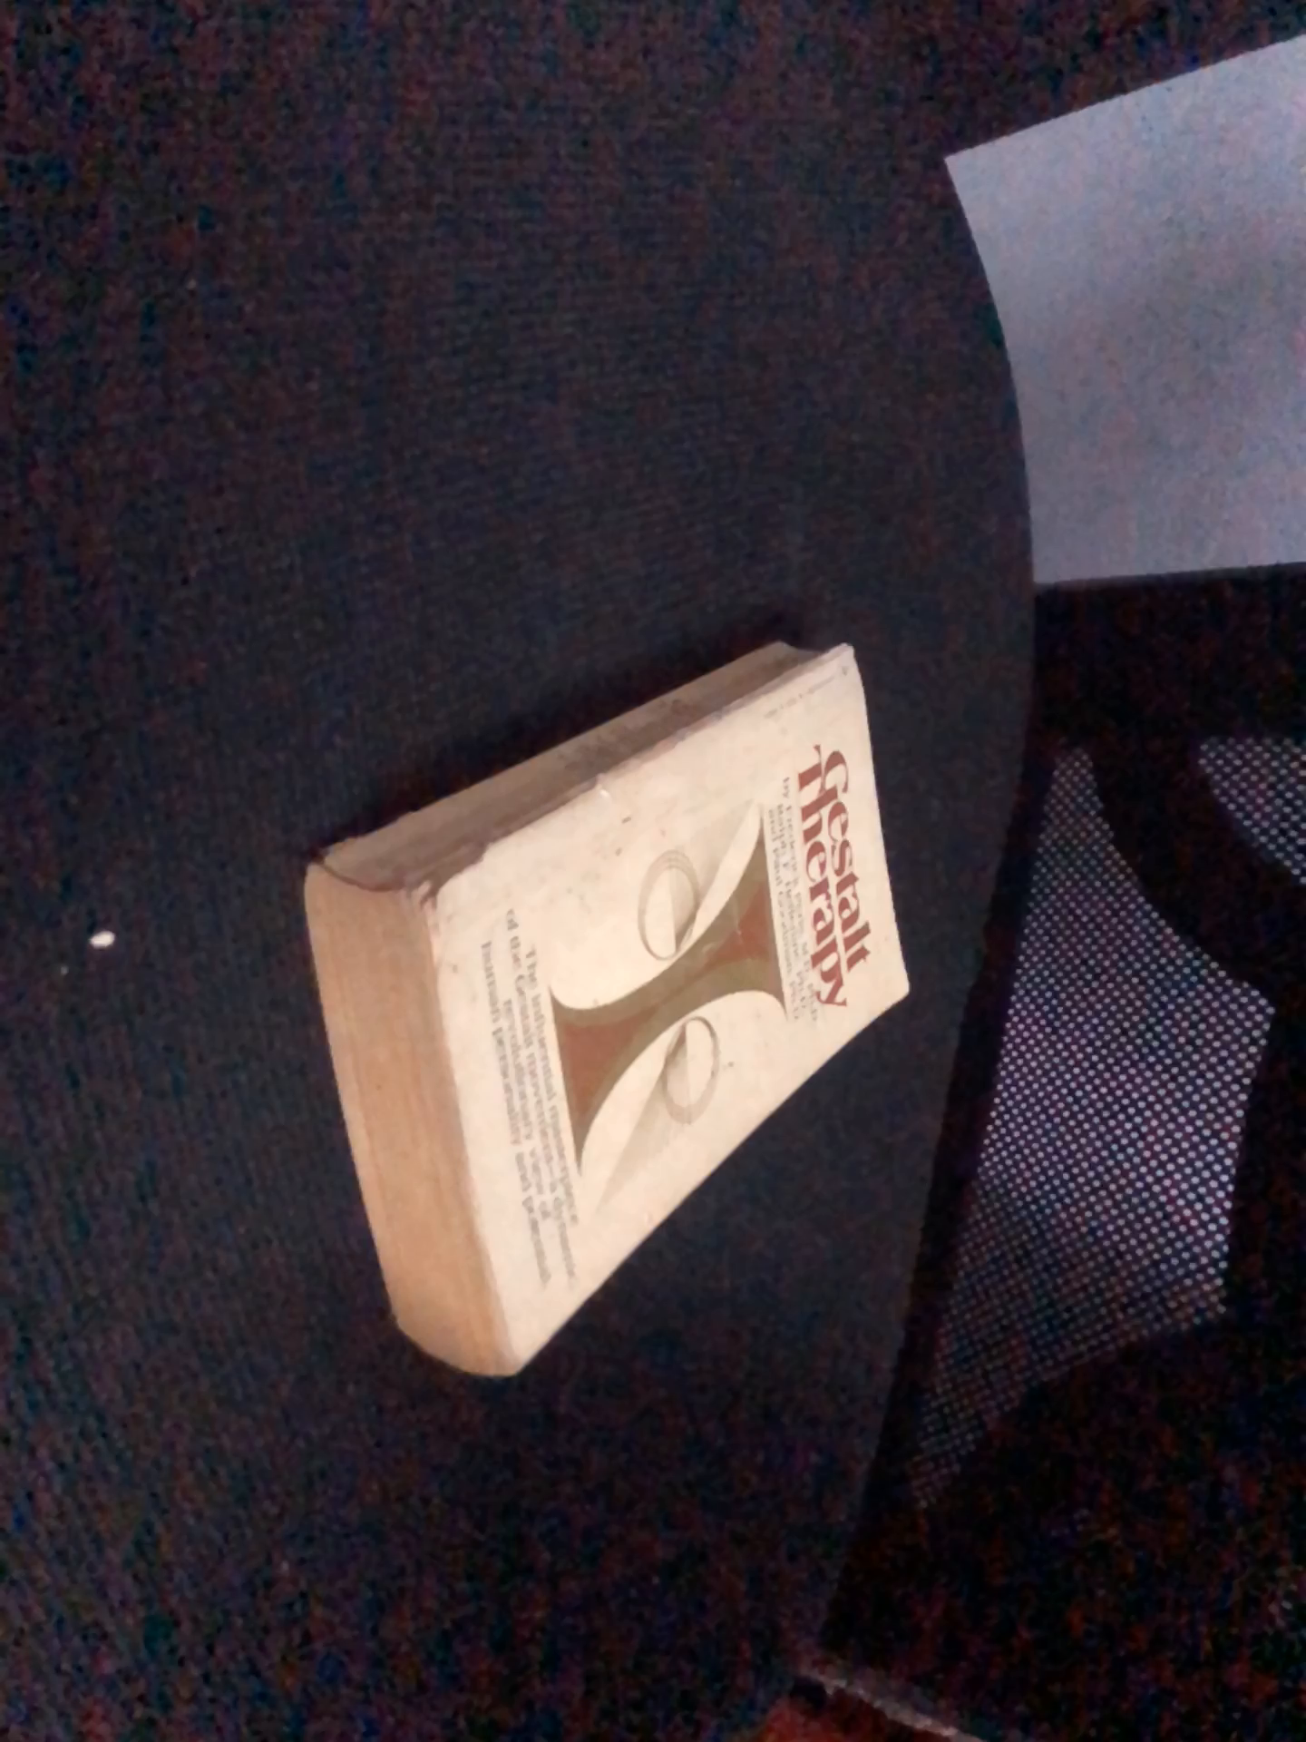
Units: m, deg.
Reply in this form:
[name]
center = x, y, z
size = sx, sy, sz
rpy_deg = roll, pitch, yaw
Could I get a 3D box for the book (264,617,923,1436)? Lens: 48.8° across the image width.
[book]
center = 0.004, 0.021, 0.340
size = 0.183, 0.034, 0.120
rpy_deg = -33, 119, -49
